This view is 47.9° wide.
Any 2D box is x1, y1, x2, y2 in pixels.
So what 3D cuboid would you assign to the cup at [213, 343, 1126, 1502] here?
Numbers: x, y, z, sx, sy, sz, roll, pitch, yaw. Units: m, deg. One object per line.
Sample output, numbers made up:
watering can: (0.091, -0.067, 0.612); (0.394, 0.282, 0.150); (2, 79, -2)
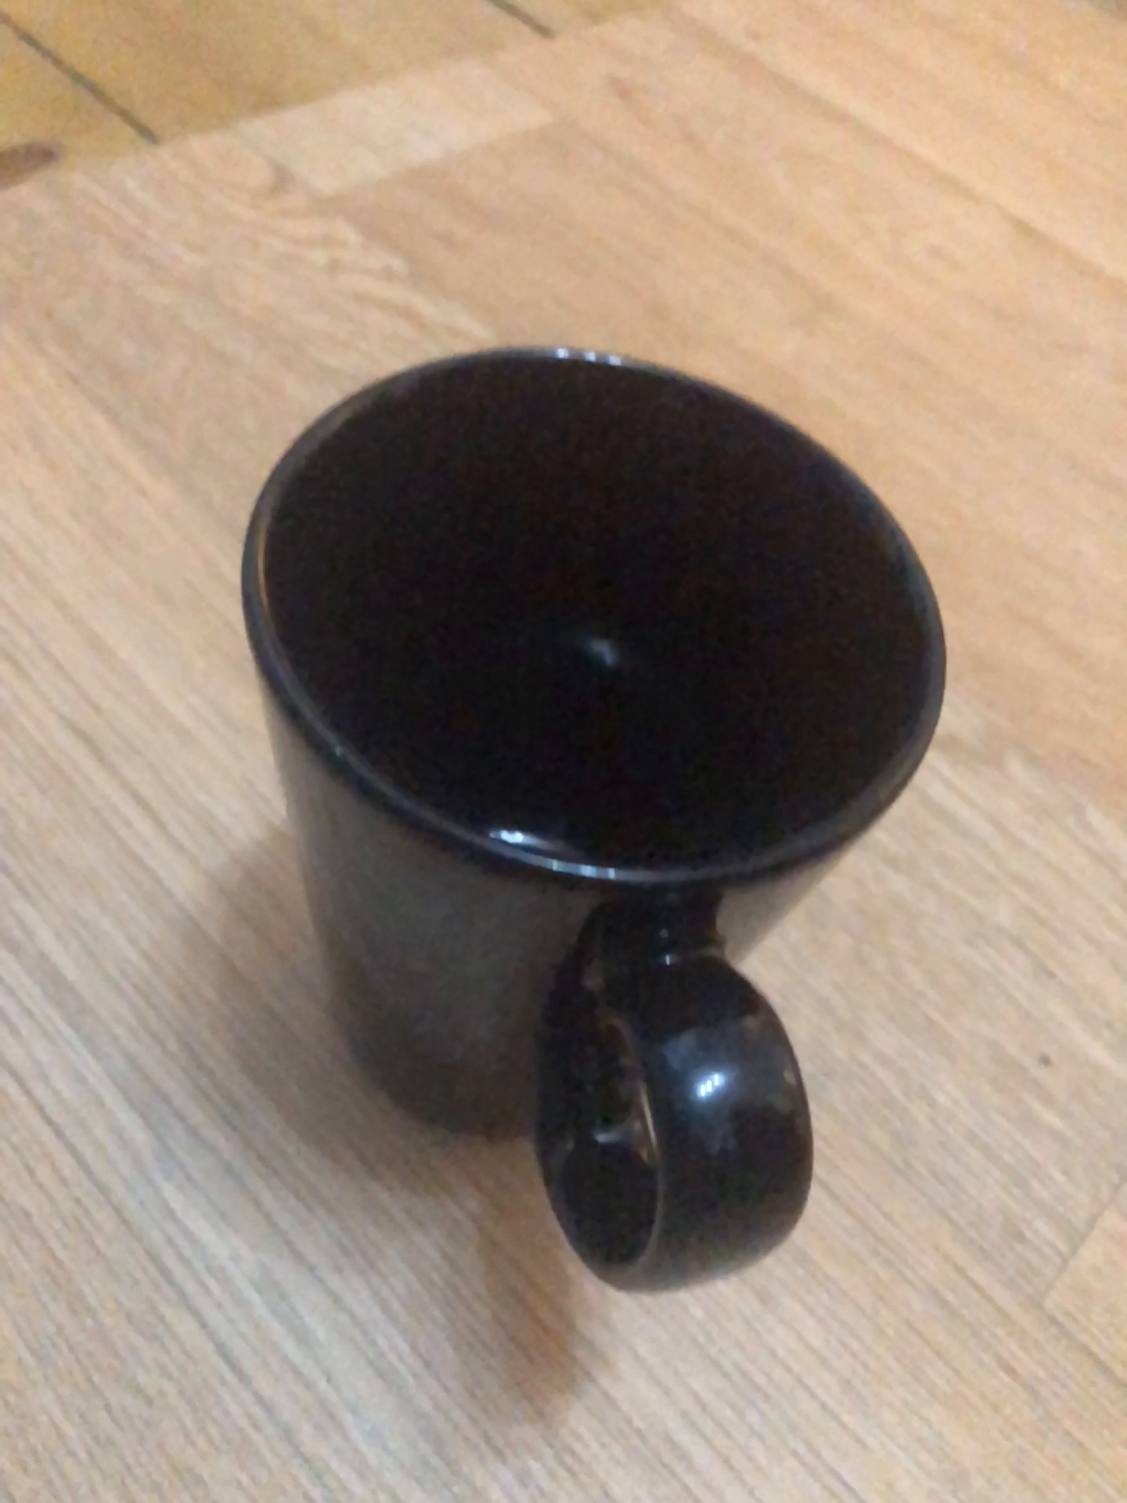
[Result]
cup: (0.005, 0.019, 0.176); (0.090, 0.090, 0.120); (-5, 55, -16)
